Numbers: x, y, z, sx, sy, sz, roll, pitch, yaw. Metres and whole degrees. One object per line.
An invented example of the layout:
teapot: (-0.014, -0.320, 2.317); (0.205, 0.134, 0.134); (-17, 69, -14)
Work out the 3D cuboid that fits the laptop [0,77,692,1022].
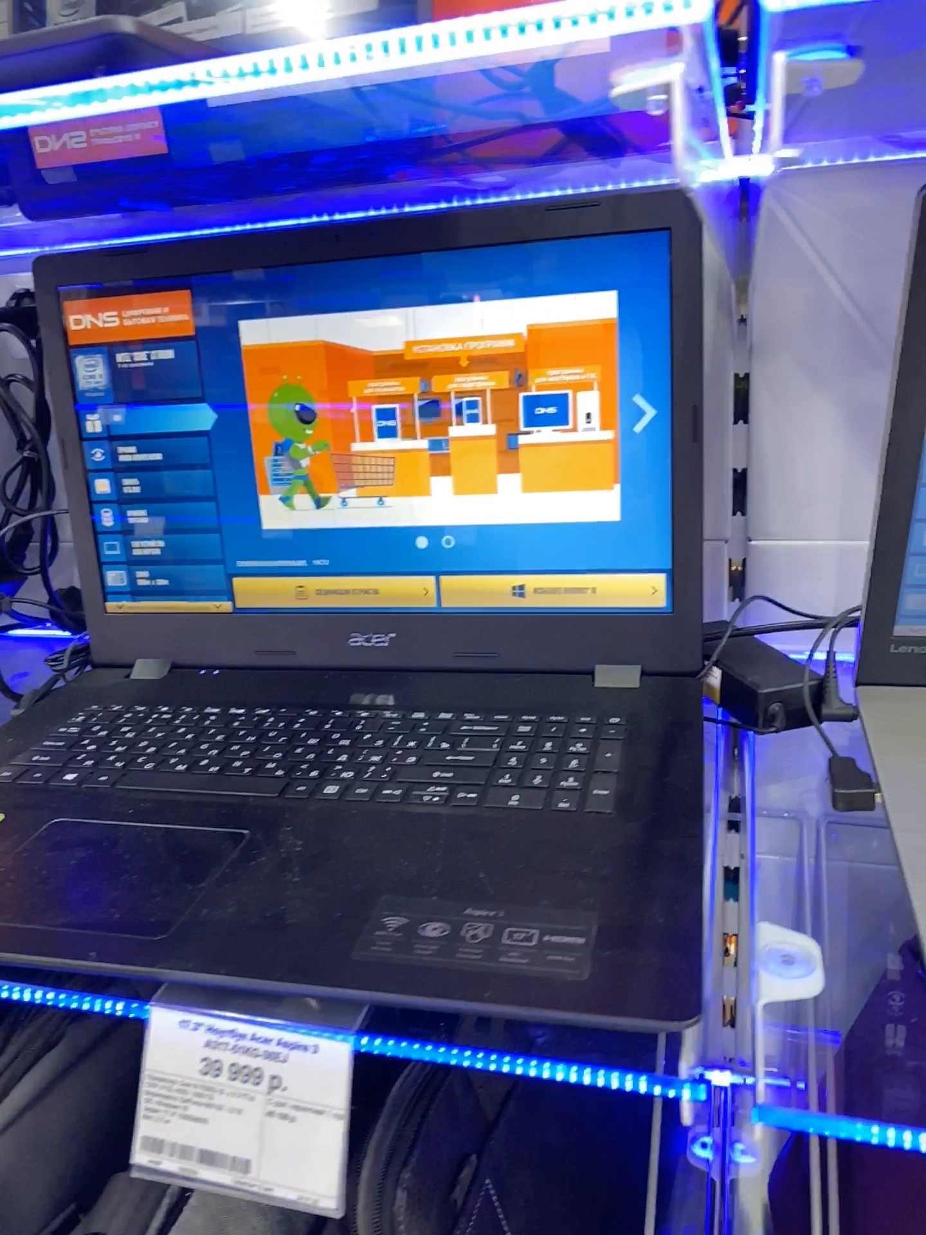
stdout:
laptop: (-0.104, -0.053, 0.470); (0.422, 0.273, 0.328); (0, 19, 14)
